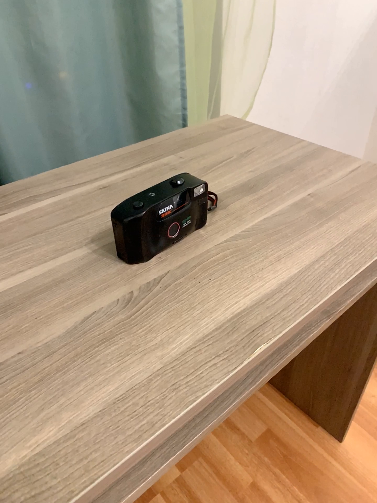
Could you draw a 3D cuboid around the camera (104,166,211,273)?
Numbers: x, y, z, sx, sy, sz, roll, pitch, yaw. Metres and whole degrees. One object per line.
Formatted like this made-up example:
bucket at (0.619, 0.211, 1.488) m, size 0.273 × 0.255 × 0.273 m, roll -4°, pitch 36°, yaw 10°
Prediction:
camera at (-0.030, -0.041, 0.442) m, size 0.045 × 0.069 × 0.121 m, roll 26°, pitch 43°, yaw 33°
